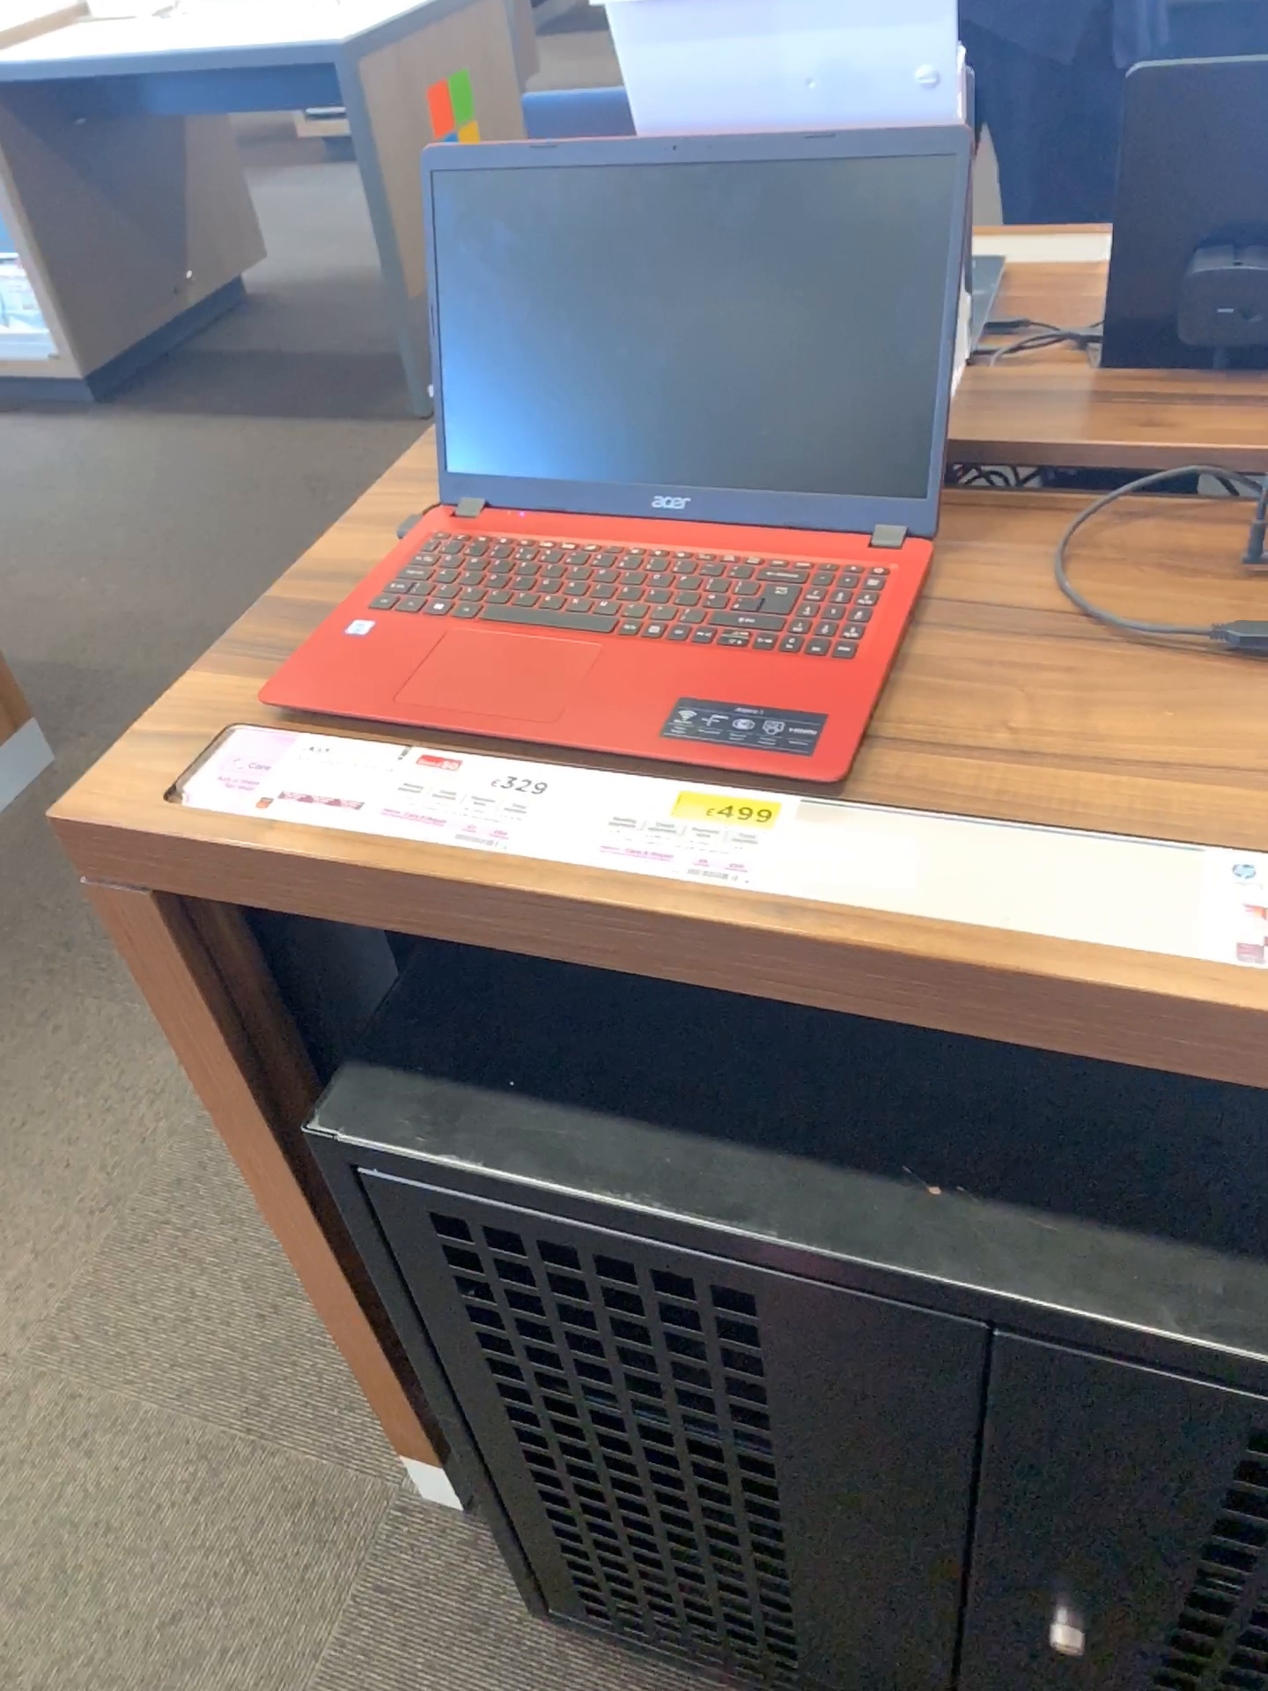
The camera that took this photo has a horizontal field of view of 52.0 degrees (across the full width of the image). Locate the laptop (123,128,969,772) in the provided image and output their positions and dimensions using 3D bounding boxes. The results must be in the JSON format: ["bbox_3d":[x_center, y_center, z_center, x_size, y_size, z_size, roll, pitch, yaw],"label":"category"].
[{"bbox_3d":[-0.018,-0.249,0.760,0.356,0.213,0.323,9,44,20],"label":"laptop"}]
